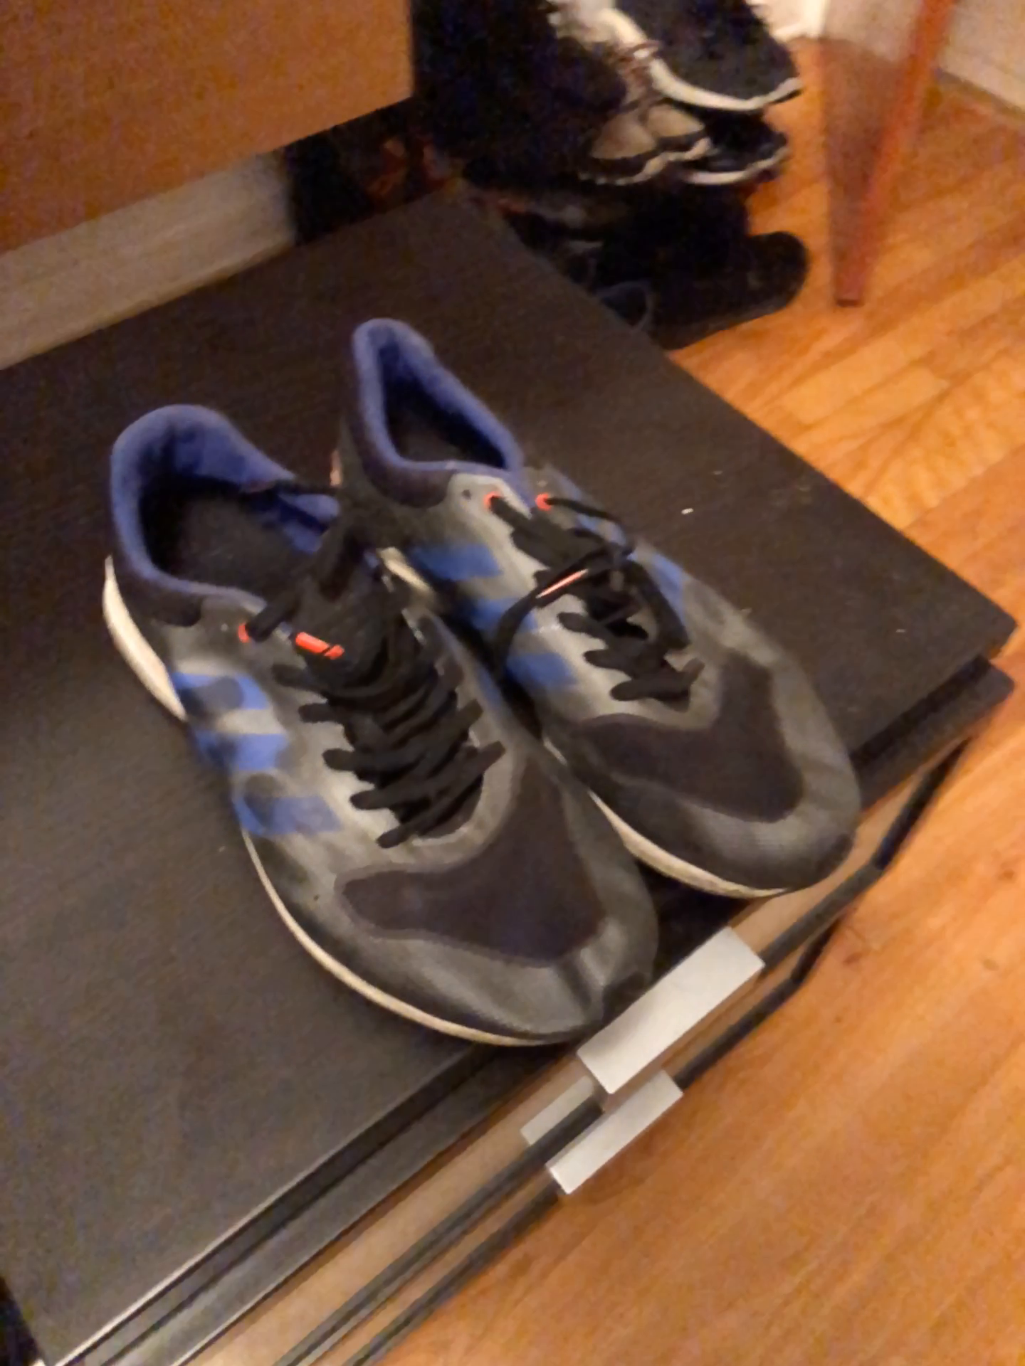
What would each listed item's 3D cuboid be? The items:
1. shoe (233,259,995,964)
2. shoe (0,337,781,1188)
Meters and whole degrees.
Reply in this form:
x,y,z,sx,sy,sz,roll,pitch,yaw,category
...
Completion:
x,y,z,sx,sy,sz,roll,pitch,yaw,category
0.021,-0.048,0.446,0.110,0.070,0.301,-32,61,-23,shoe
-0.057,0.007,0.372,0.110,0.079,0.271,-32,61,-23,shoe
